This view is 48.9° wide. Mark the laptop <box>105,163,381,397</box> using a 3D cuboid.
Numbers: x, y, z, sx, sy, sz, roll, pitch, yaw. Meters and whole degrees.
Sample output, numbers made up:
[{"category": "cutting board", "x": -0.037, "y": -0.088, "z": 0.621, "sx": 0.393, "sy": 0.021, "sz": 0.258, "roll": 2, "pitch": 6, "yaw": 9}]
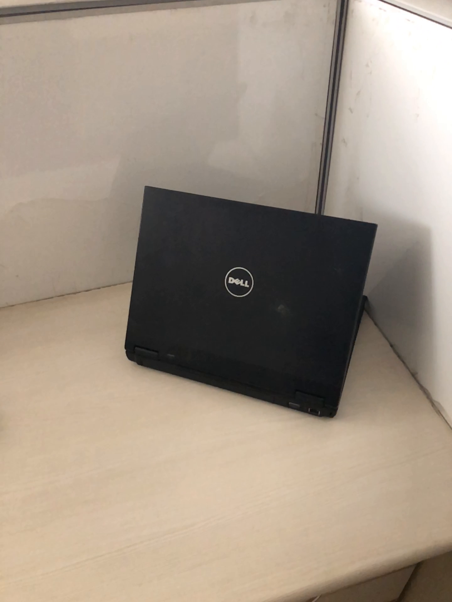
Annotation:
[{"category": "laptop", "x": 0.036, "y": -0.046, "z": 0.712, "sx": 0.304, "sy": 0.190, "sz": 0.231, "roll": 14, "pitch": 40, "yaw": 16}]
